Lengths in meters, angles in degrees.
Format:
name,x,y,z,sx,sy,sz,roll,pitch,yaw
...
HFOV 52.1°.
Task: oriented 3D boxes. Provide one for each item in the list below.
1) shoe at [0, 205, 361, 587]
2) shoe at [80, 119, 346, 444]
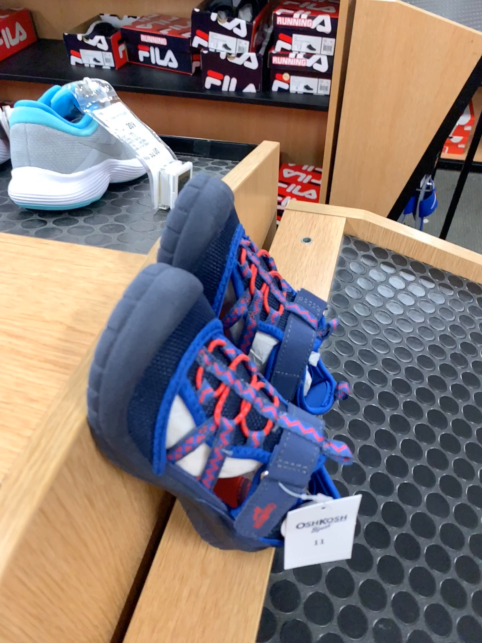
name,x,y,z,sx,sy,sz,roll,pitch,yaw
shoe,-0.013,0.050,0.259,0.100,0.189,0.080,-4,42,27
shoe,0.000,-0.010,0.313,0.080,0.189,0.080,-6,42,26
